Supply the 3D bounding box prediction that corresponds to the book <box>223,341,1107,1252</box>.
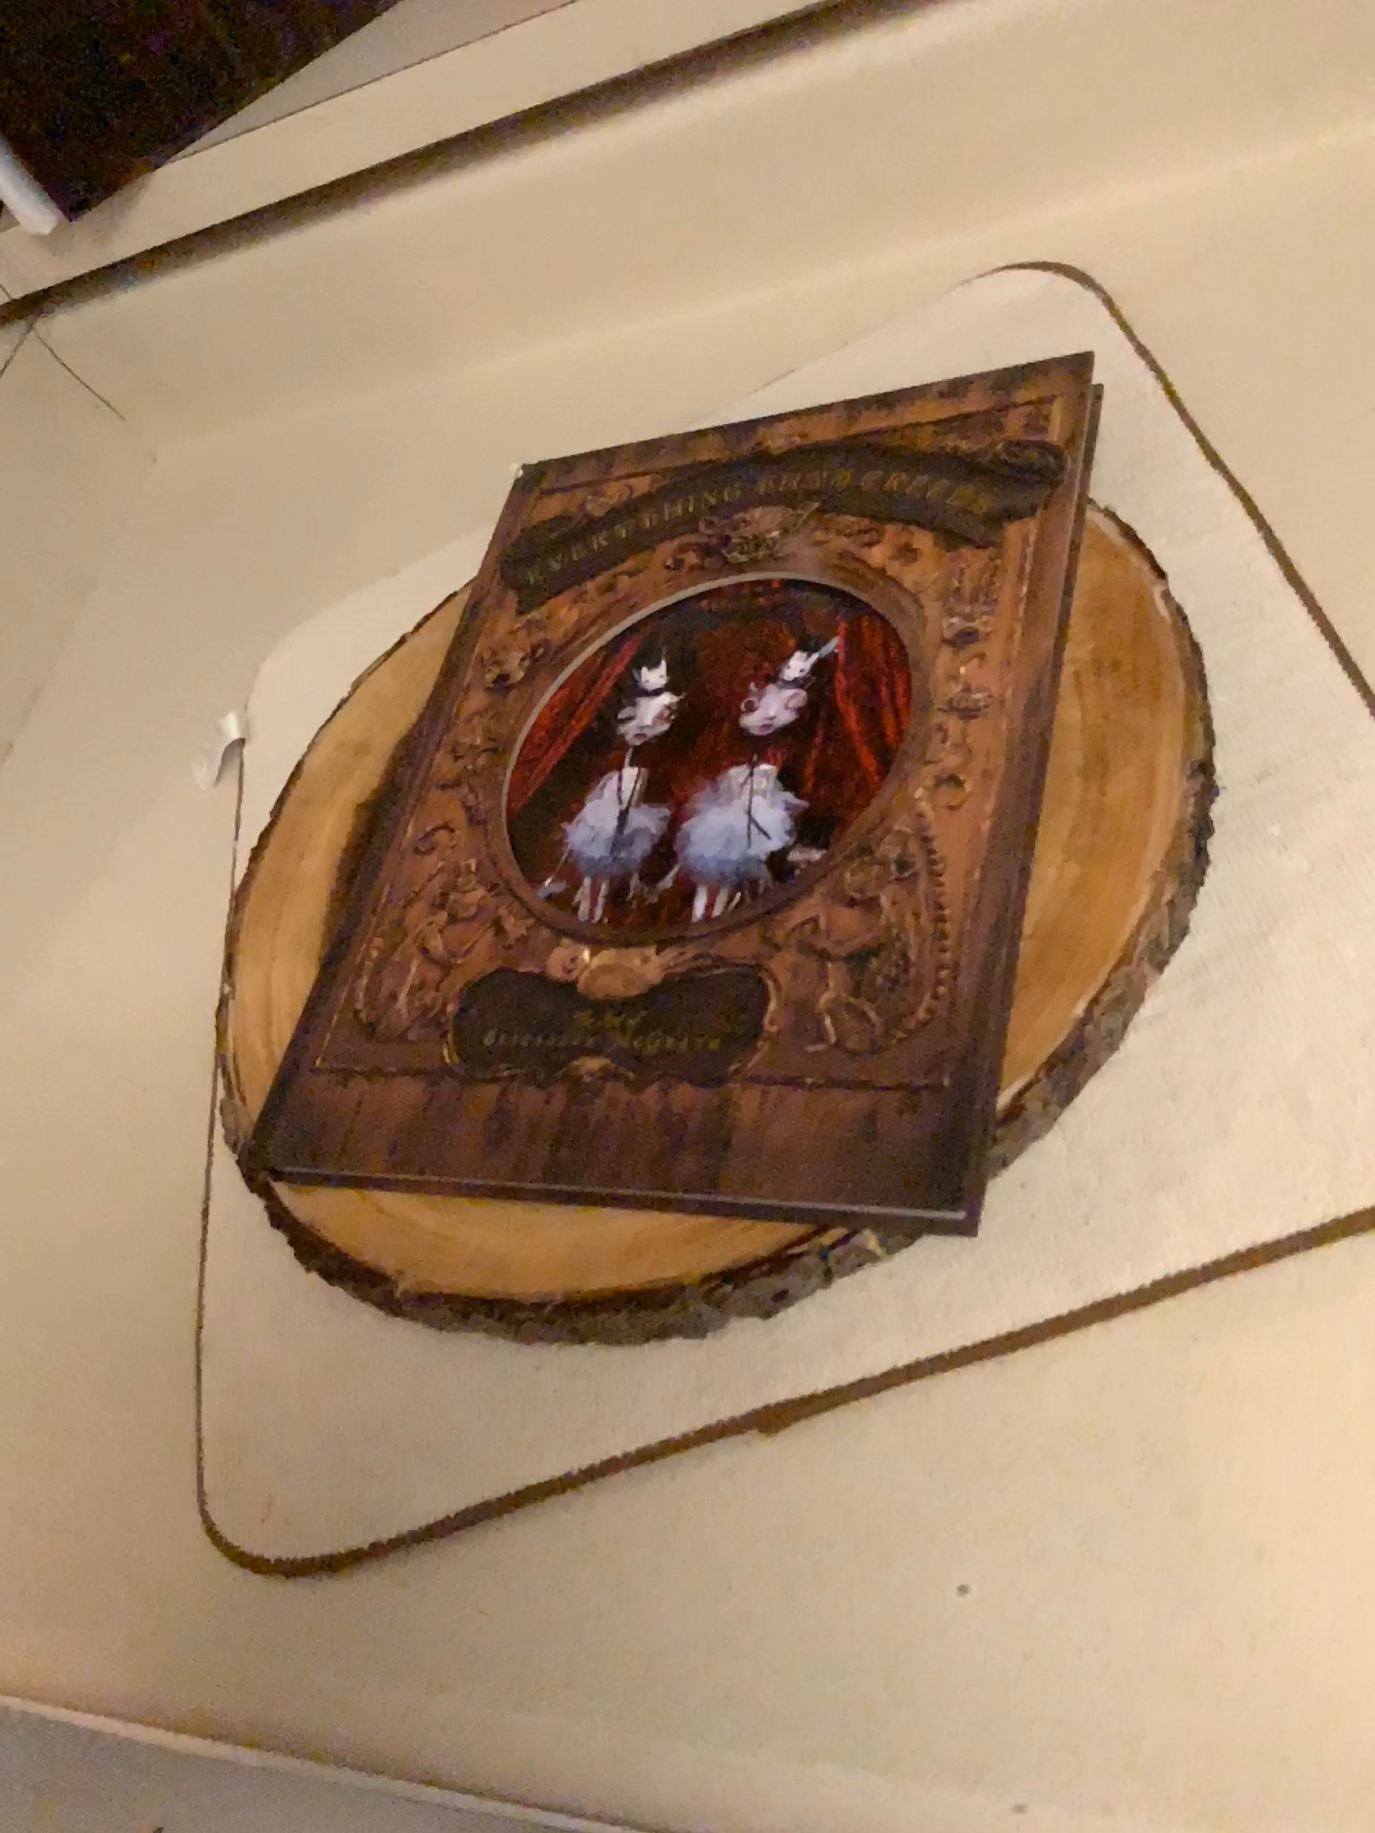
[{"bbox_3d":[0.001,-0.051,0.489,0.230,0.020,0.310,-2,56,28],"label":"book"}]
